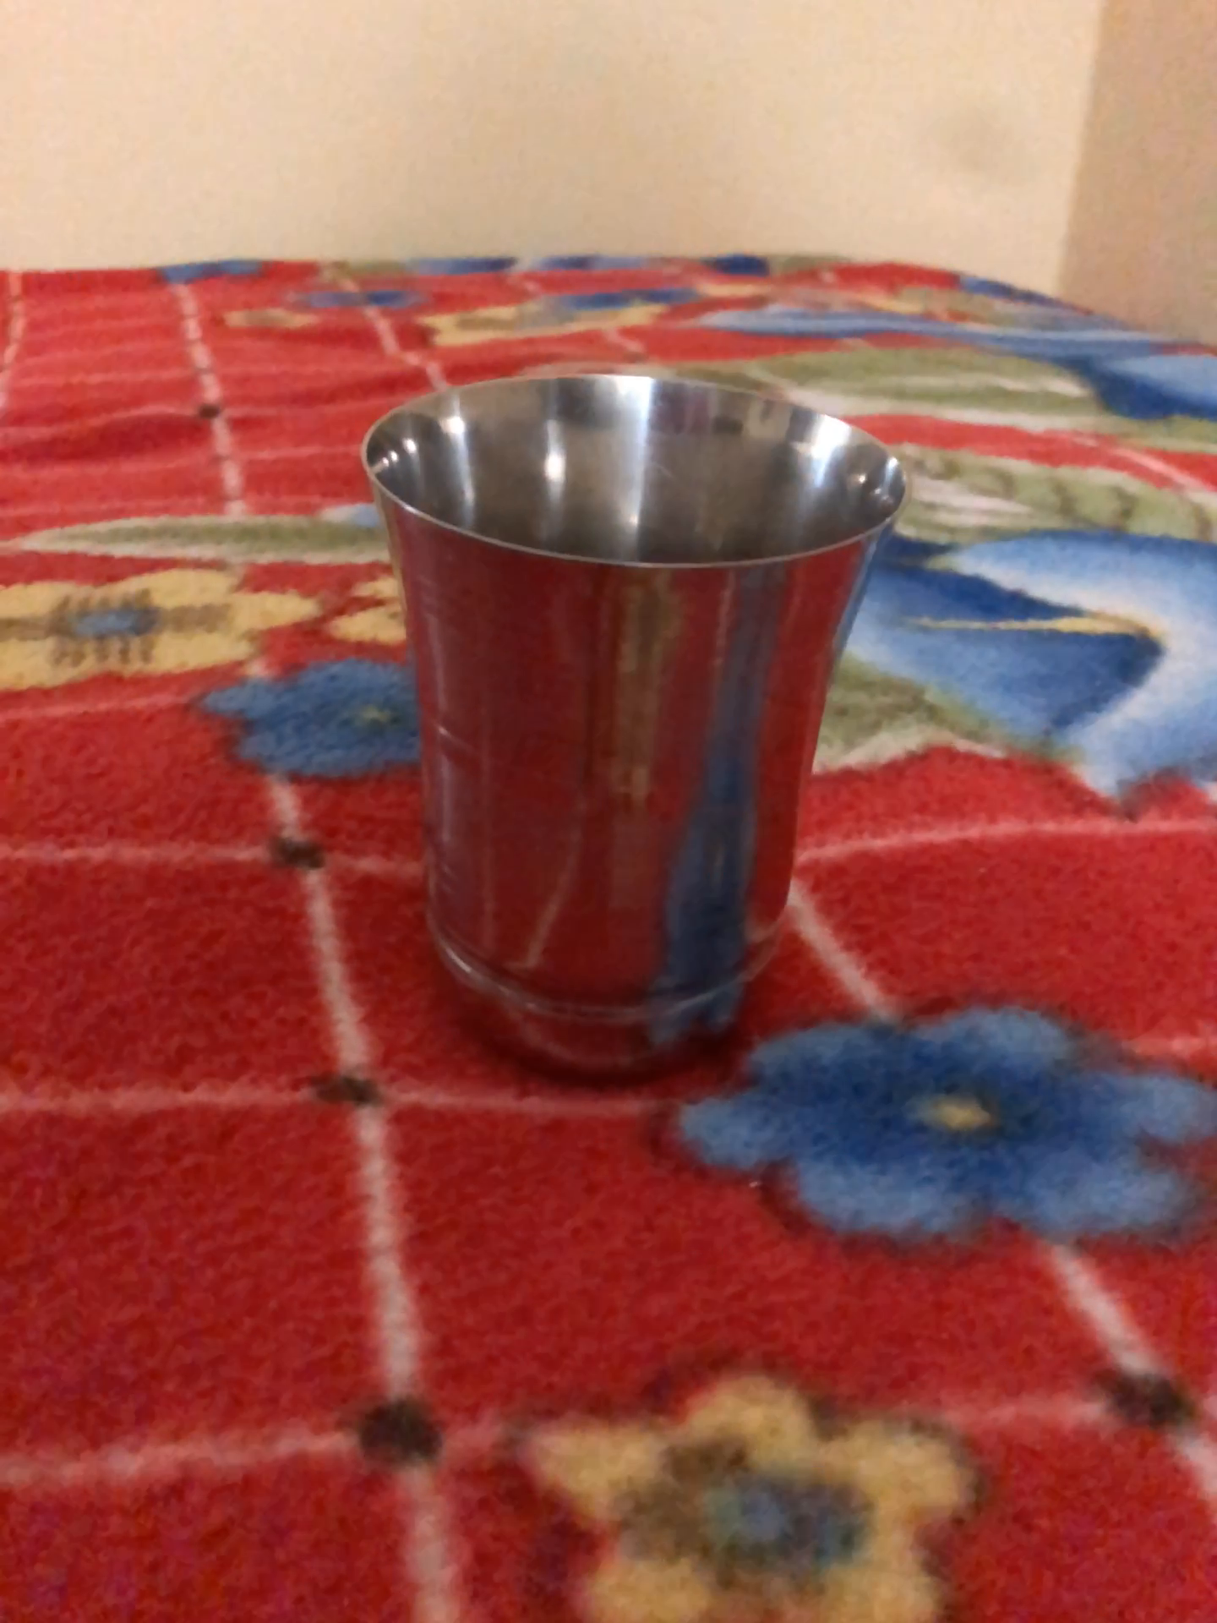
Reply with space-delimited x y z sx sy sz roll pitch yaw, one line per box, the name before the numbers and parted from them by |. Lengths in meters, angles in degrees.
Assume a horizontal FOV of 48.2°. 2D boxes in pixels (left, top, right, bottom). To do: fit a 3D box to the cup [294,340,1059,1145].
cup | -0.002 -0.015 0.213 0.089 0.090 0.087 4 30 -3
